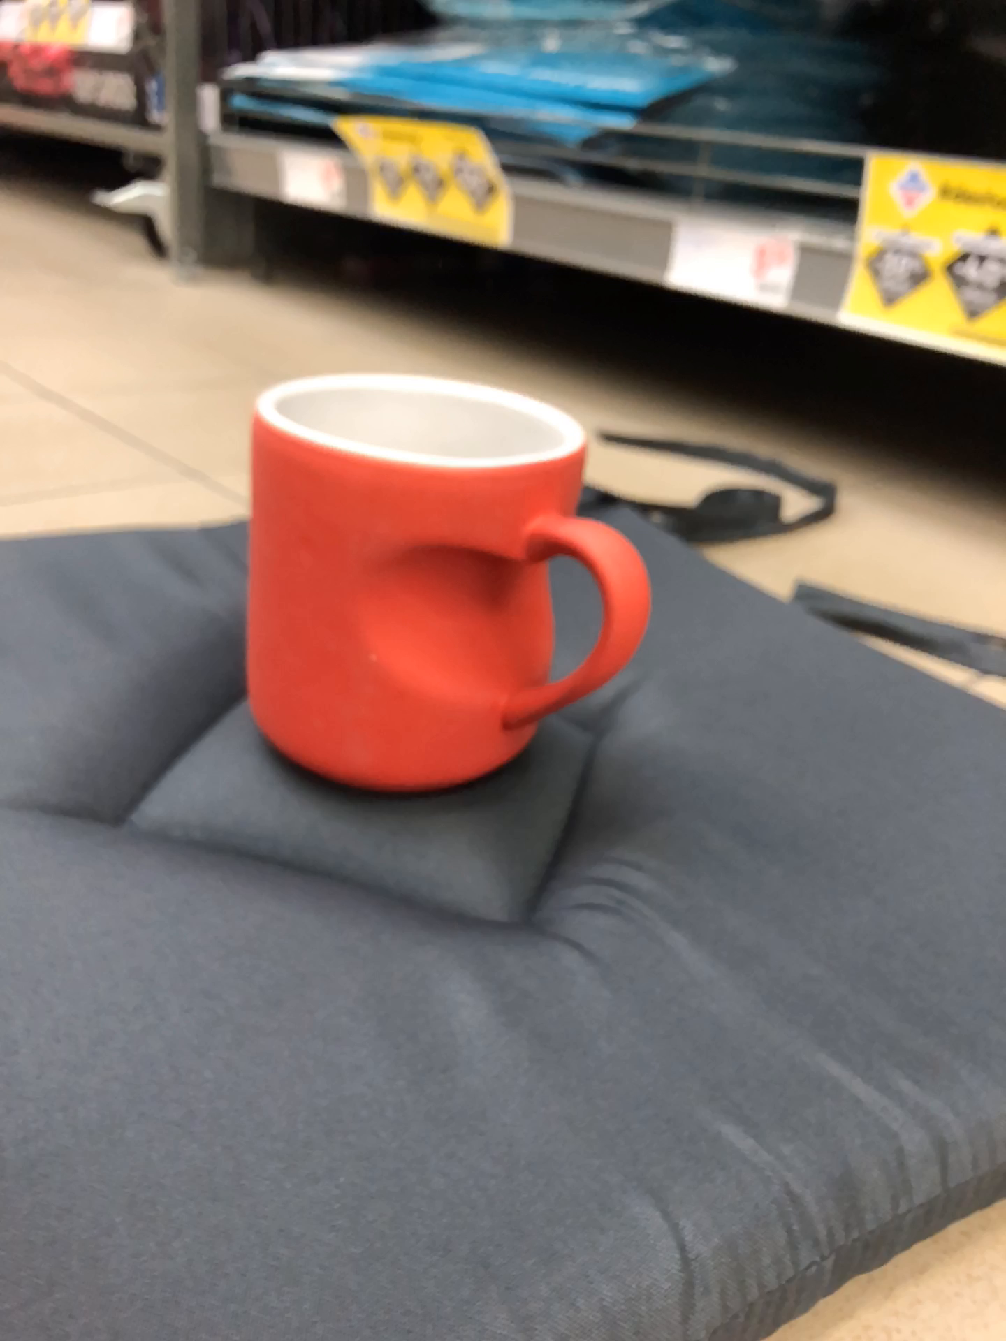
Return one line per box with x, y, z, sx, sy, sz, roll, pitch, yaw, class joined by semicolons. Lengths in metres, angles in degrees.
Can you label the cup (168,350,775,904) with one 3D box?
-0.014;-0.023;0.294;0.090;0.090;0.120;-18;35;-41;cup
